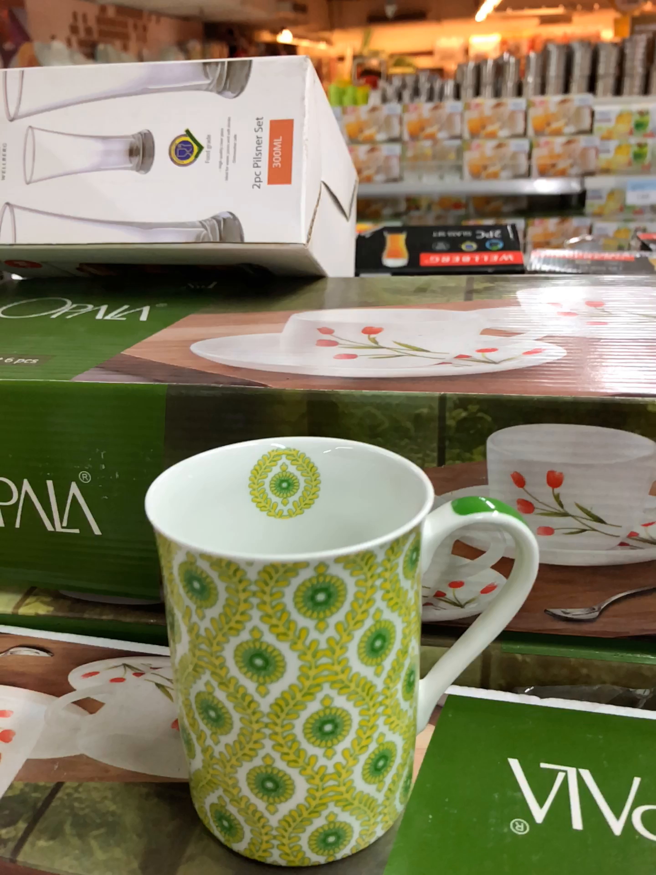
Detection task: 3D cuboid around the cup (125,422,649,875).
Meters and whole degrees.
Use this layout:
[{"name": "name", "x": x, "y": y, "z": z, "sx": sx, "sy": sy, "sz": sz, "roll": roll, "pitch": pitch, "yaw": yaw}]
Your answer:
[{"name": "cup", "x": 0.008, "y": 0.055, "z": 0.197, "sx": 0.110, "sy": 0.090, "sz": 0.080, "roll": -6, "pitch": 18, "yaw": -16}]
